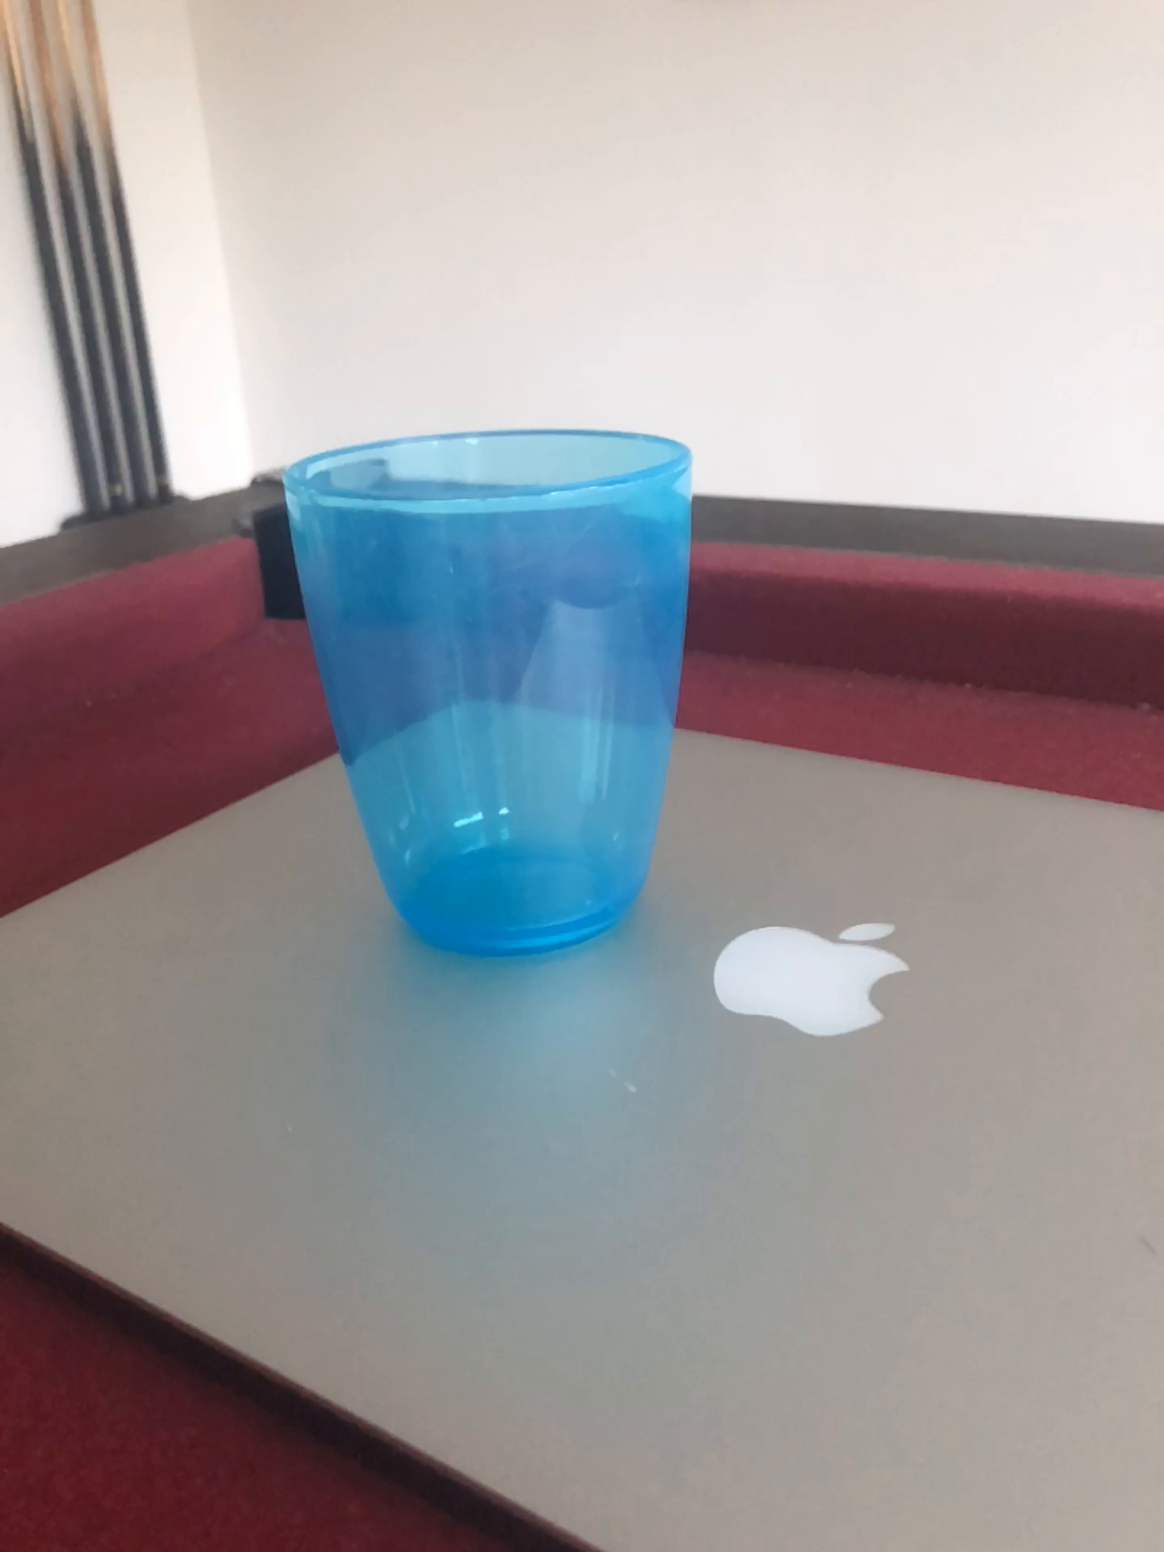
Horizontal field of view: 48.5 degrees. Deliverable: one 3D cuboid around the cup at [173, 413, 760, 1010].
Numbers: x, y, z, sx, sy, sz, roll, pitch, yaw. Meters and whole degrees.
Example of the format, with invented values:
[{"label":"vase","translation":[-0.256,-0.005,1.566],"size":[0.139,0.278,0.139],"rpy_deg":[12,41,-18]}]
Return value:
[{"label":"cup","translation":[-0.020,-0.023,0.284],"size":[0.090,0.100,0.080],"rpy_deg":[11,26,32]}]
